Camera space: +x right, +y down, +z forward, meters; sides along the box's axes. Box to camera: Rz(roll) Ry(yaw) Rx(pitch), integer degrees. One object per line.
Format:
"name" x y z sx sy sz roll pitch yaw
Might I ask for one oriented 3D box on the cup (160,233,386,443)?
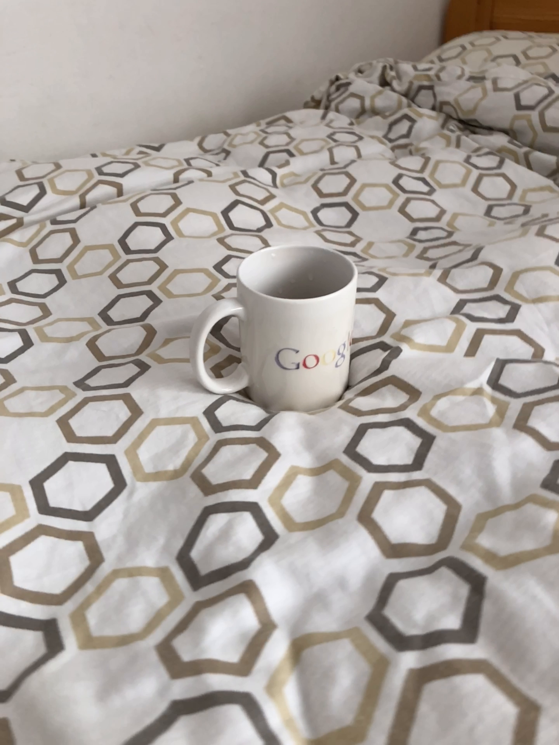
"cup" -0.005 -0.028 0.429 0.126 0.087 0.087 -15 39 -16
